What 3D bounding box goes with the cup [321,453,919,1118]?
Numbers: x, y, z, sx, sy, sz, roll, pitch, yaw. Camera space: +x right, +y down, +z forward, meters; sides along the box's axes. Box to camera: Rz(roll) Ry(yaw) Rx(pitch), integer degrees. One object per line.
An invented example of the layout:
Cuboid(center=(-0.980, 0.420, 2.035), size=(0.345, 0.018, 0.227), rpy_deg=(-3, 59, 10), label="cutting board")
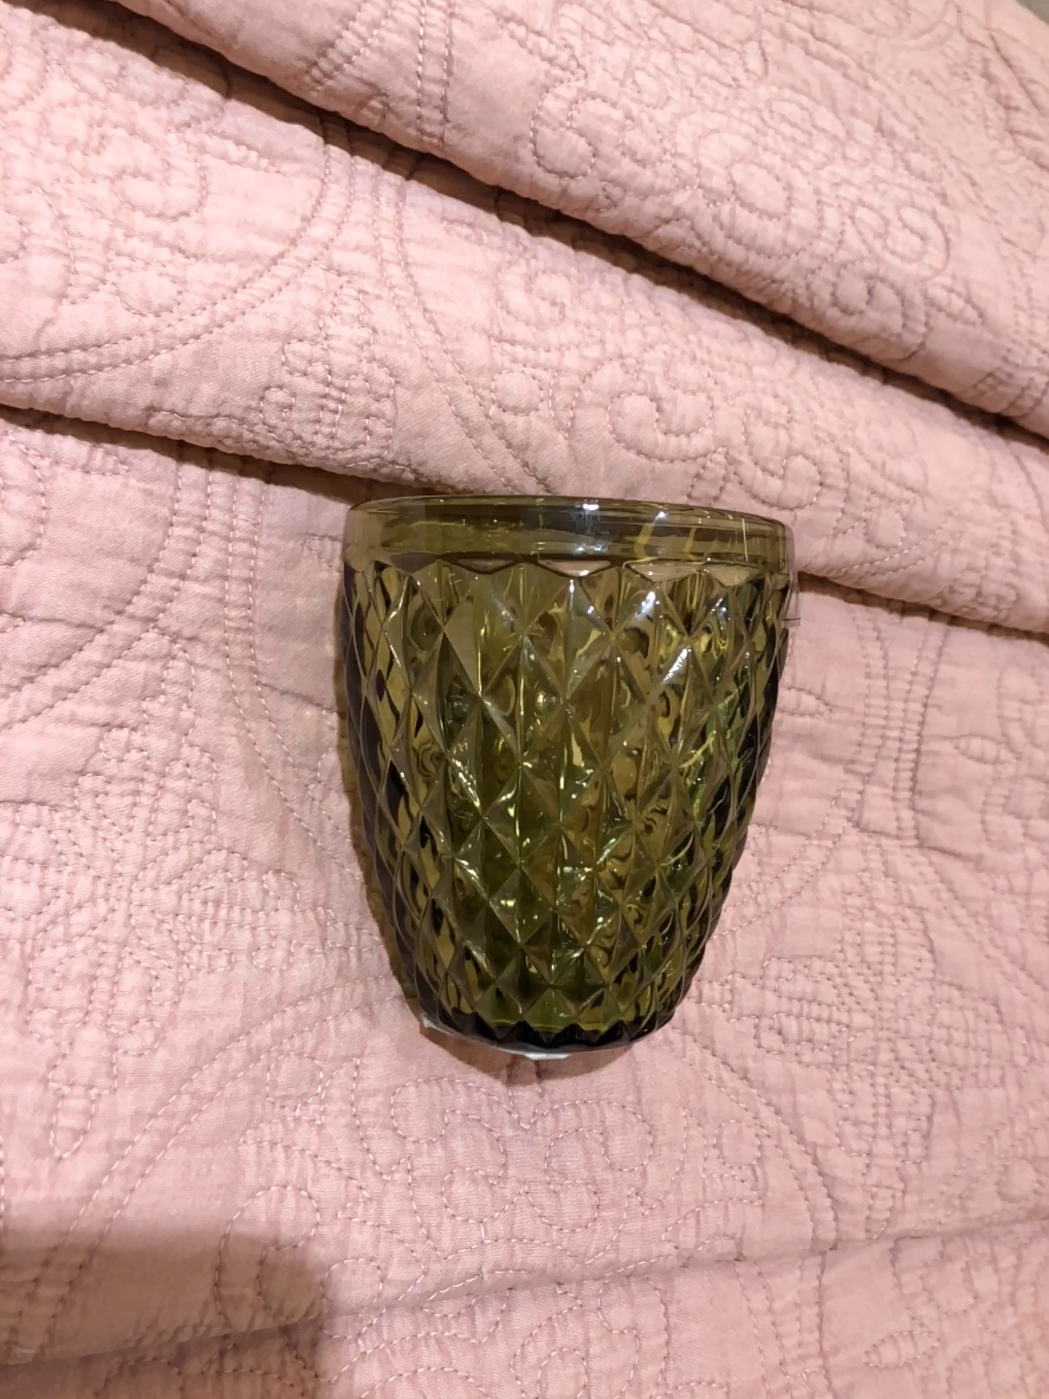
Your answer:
Cuboid(center=(0.014, 0.011, 0.223), size=(0.080, 0.070, 0.100), rpy_deg=(2, 96, -28), label="cup")
